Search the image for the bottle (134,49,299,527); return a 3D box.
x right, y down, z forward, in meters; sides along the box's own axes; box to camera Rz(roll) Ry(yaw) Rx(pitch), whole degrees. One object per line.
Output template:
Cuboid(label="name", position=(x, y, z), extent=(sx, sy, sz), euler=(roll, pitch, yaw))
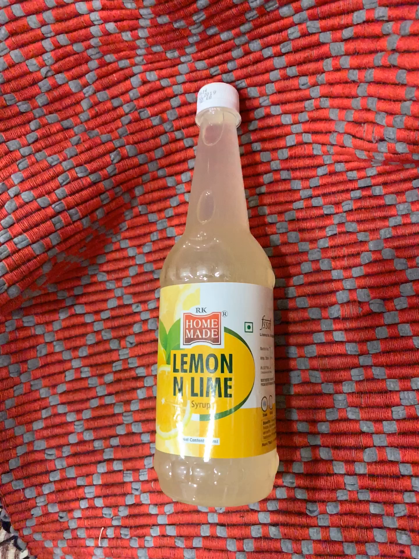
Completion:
Cuboid(label="bottle", position=(0.012, -0.002, 0.275), extent=(0.070, 0.070, 0.260), euler=(-4, 74, 24))
